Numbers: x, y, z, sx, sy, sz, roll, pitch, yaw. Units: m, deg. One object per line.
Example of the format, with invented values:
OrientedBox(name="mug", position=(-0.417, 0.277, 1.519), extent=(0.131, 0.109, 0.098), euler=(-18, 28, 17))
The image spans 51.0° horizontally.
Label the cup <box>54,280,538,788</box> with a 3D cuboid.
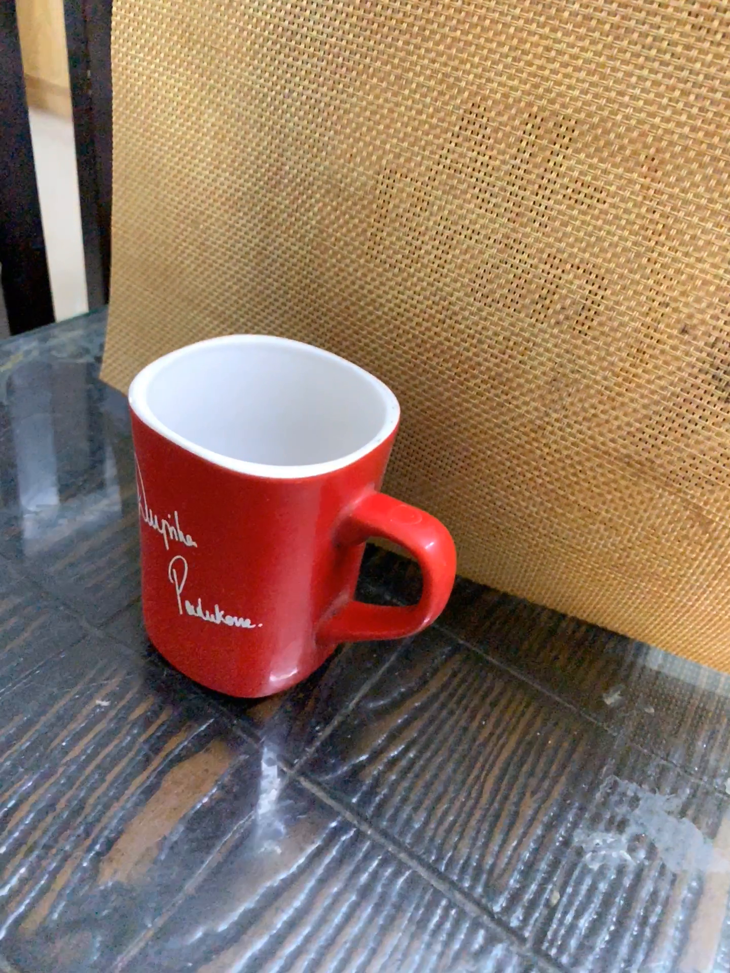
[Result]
OrientedBox(name="cup", position=(-0.020, 0.007, 0.211), extent=(0.096, 0.085, 0.070), euler=(25, 38, 19))
